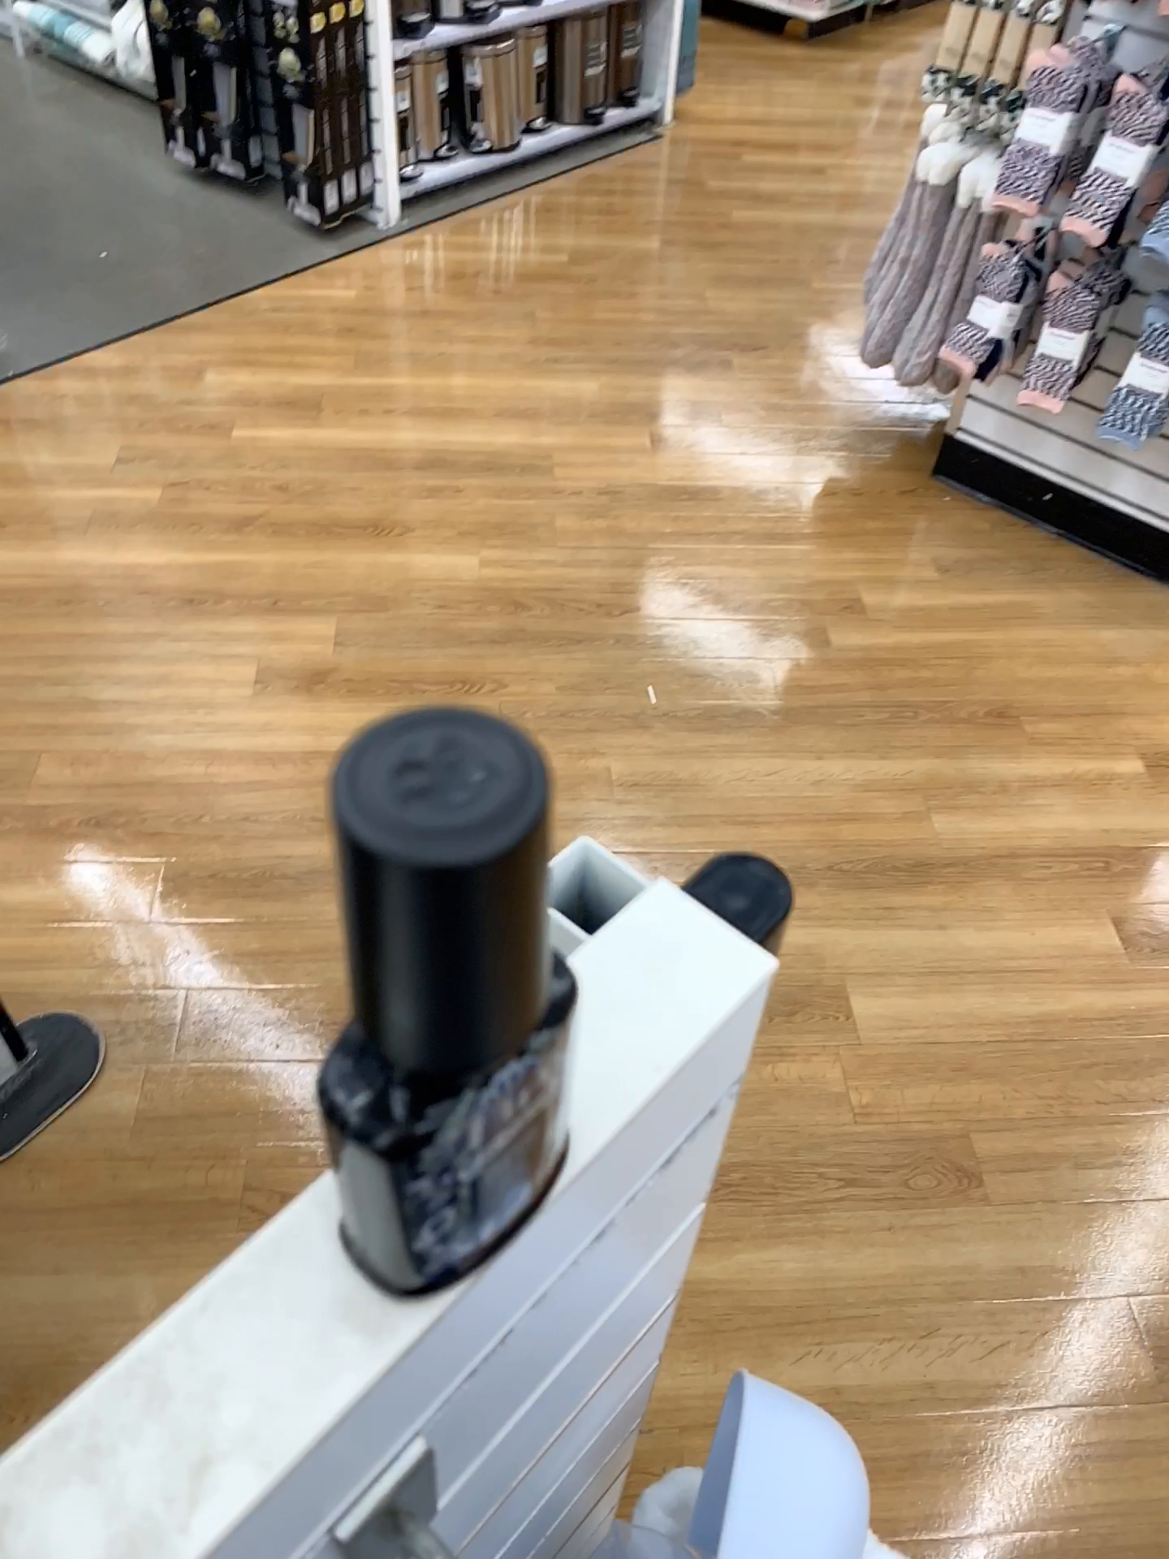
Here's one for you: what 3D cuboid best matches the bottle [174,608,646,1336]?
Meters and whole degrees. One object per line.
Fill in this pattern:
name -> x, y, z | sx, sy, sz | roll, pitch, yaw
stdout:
bottle -> -0.024, 0.039, 0.194 | 0.032, 0.123, 0.050 | 34, 54, 25
